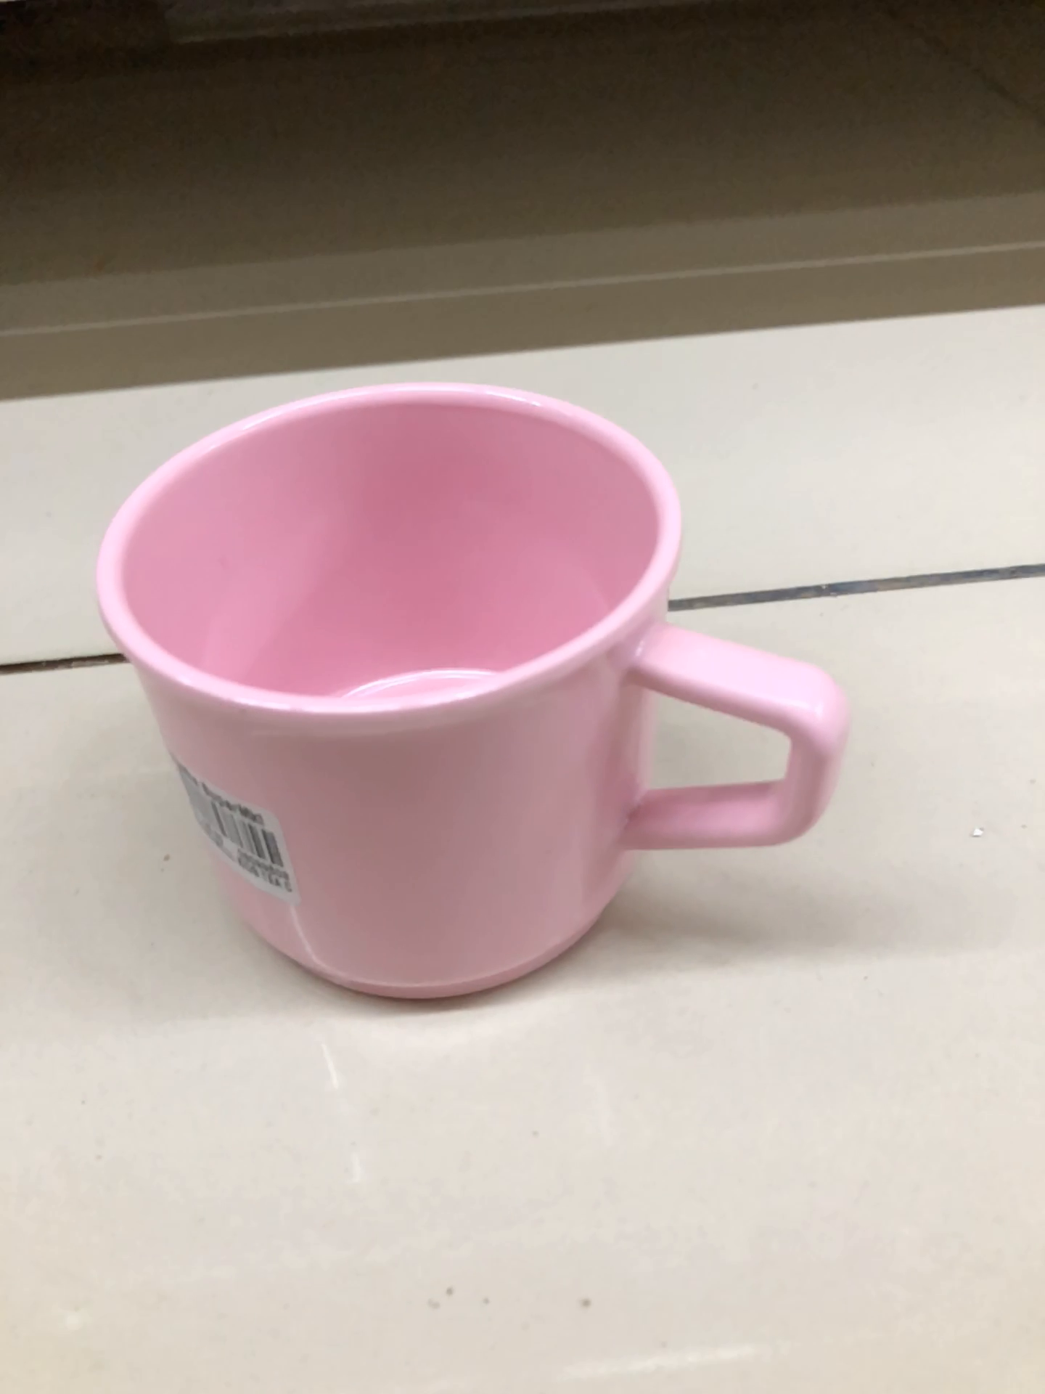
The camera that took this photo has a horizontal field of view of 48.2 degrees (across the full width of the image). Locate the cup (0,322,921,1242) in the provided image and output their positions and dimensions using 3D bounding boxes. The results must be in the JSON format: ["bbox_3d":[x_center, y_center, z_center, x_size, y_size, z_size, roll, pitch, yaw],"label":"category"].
[{"bbox_3d":[-0.011,0.005,0.179,0.110,0.079,0.081,16,45,22],"label":"cup"}]
